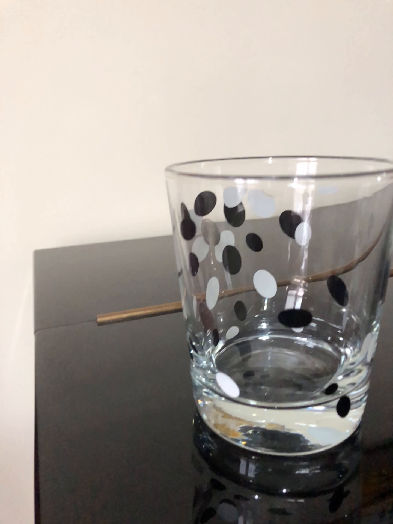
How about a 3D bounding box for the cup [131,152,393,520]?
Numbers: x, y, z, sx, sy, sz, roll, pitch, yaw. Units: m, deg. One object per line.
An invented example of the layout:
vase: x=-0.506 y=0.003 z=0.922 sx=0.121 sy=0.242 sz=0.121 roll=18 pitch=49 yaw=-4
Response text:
cup: x=0.032 y=0.012 z=0.166 sx=0.070 sy=0.100 sz=0.080 roll=11 pitch=20 yaw=38
